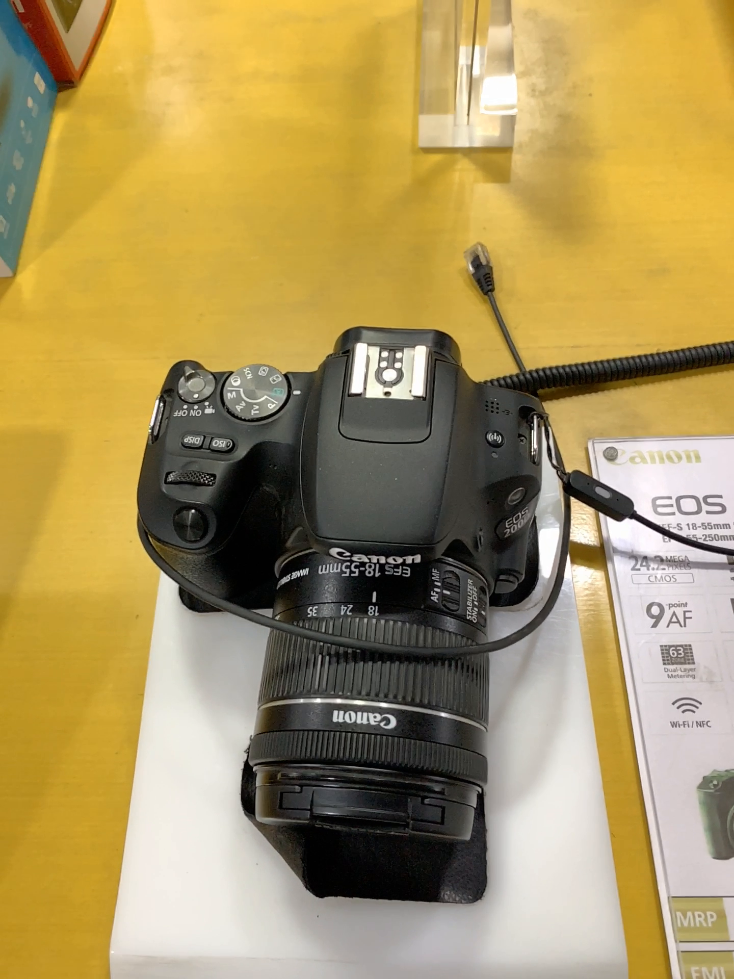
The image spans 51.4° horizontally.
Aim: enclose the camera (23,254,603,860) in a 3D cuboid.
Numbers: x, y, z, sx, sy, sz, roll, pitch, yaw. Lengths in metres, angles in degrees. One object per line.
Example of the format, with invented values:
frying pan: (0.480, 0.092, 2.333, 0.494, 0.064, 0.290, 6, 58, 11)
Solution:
camera: (-0.007, 0.016, 0.225, 0.120, 0.070, 0.160, 1, 62, 4)
